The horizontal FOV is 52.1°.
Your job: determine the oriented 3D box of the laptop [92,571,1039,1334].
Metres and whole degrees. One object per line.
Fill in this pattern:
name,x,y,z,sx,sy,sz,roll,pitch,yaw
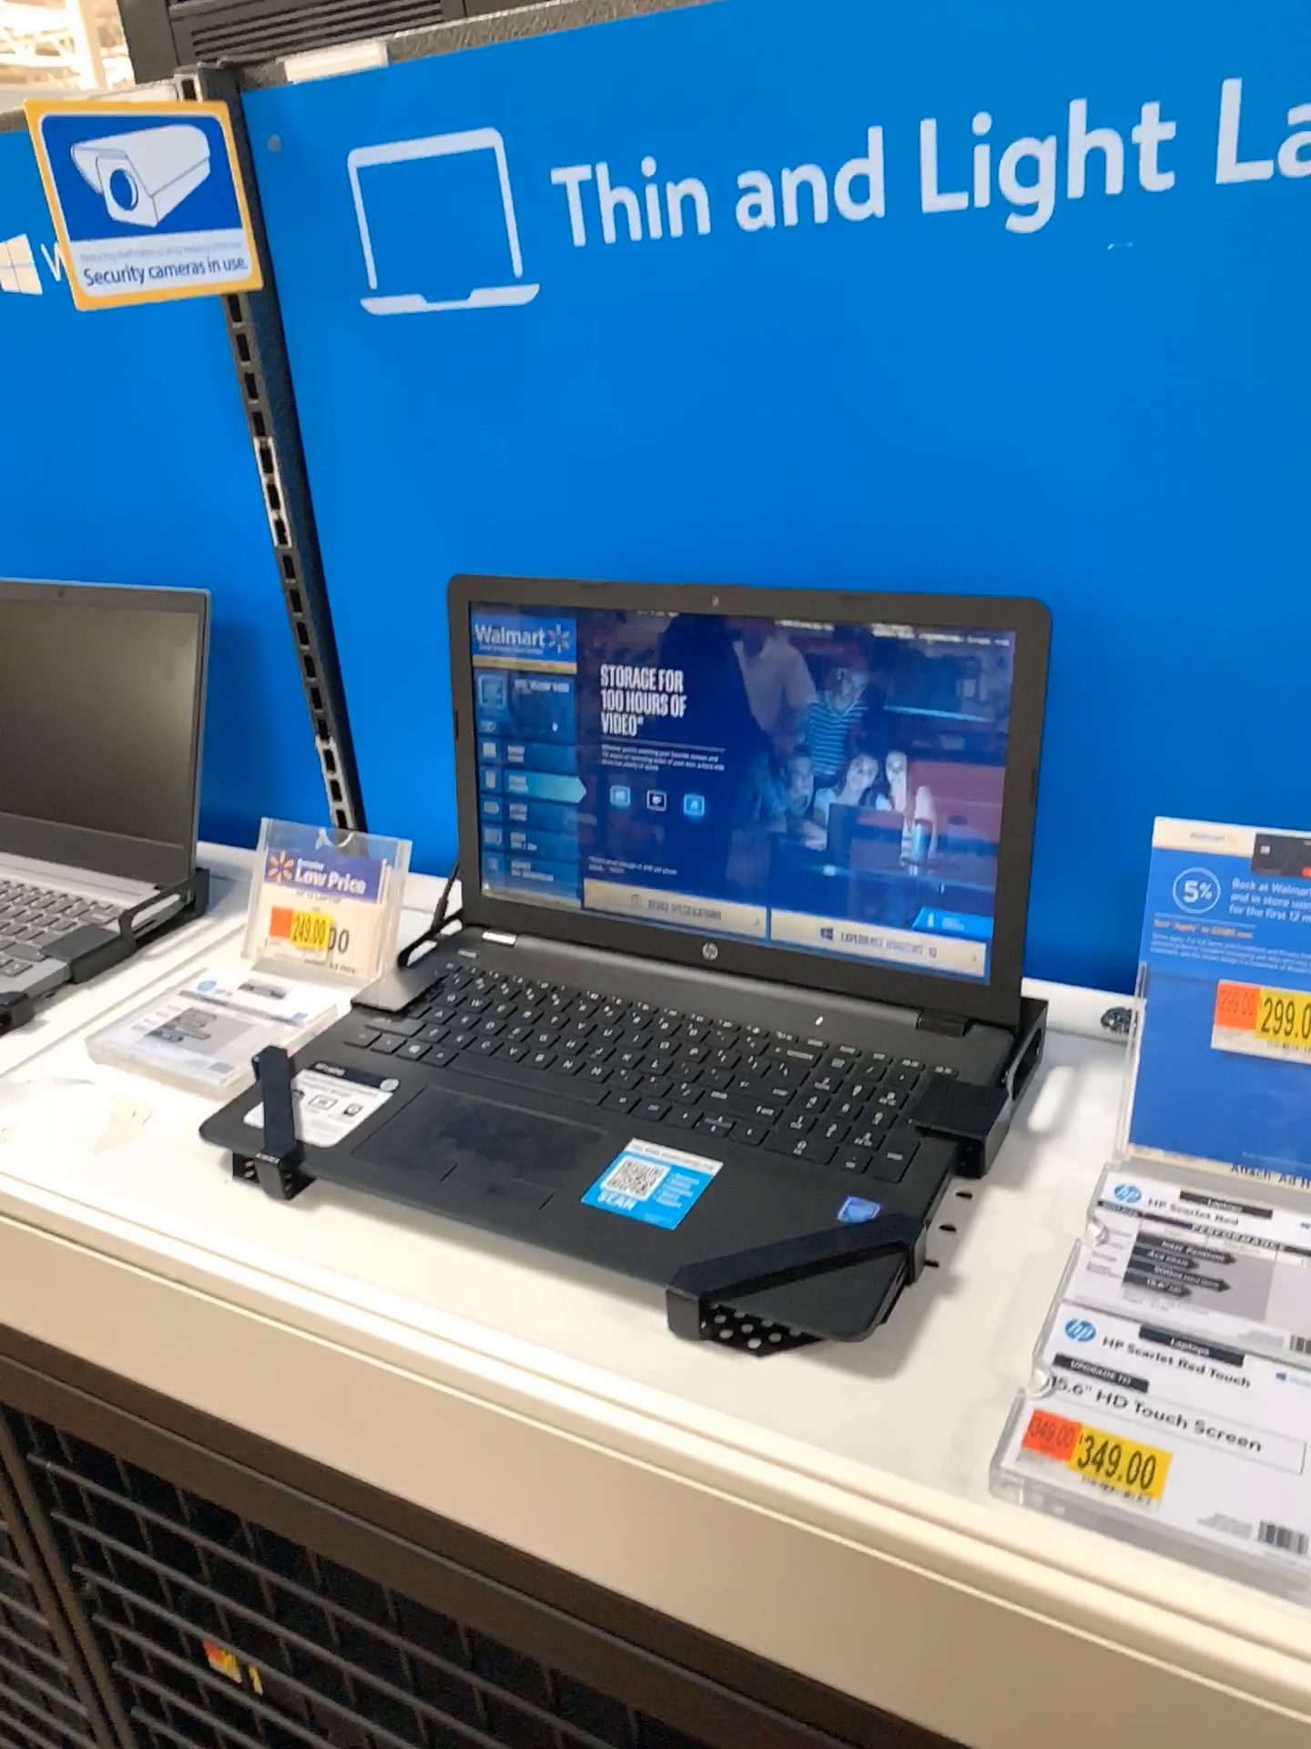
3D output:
laptop,-0.023,-0.002,0.690,0.363,0.225,0.286,8,29,27
